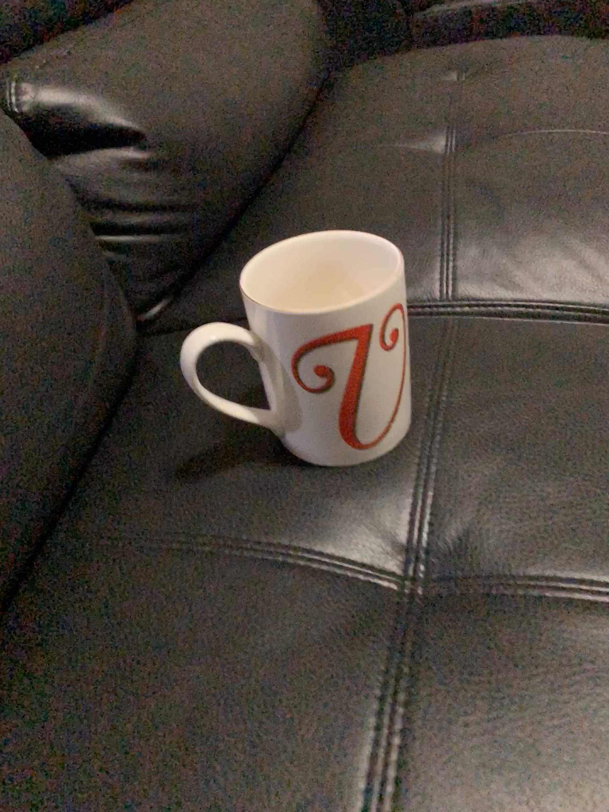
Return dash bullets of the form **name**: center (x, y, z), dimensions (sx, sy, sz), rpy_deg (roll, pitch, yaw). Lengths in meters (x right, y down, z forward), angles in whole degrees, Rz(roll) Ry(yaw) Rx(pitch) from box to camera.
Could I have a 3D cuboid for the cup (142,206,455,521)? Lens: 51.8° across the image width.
- **cup**: center (-0.001, -0.029, 0.359), dimensions (0.139, 0.106, 0.098), rpy_deg (-20, 39, -12)
